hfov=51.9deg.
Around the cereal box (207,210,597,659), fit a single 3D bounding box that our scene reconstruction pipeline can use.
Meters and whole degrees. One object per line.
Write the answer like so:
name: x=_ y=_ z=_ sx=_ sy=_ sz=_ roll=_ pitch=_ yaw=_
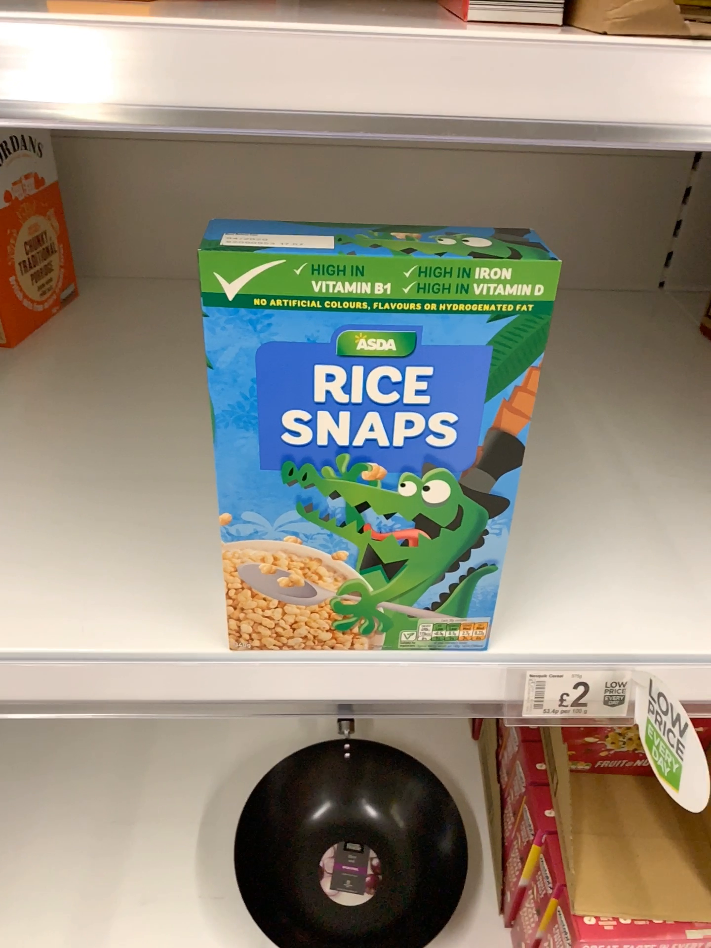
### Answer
cereal box: x=0.017 y=-0.008 z=0.465 sx=0.190 sy=0.287 sz=0.071 roll=0 pitch=35 yaw=-4
